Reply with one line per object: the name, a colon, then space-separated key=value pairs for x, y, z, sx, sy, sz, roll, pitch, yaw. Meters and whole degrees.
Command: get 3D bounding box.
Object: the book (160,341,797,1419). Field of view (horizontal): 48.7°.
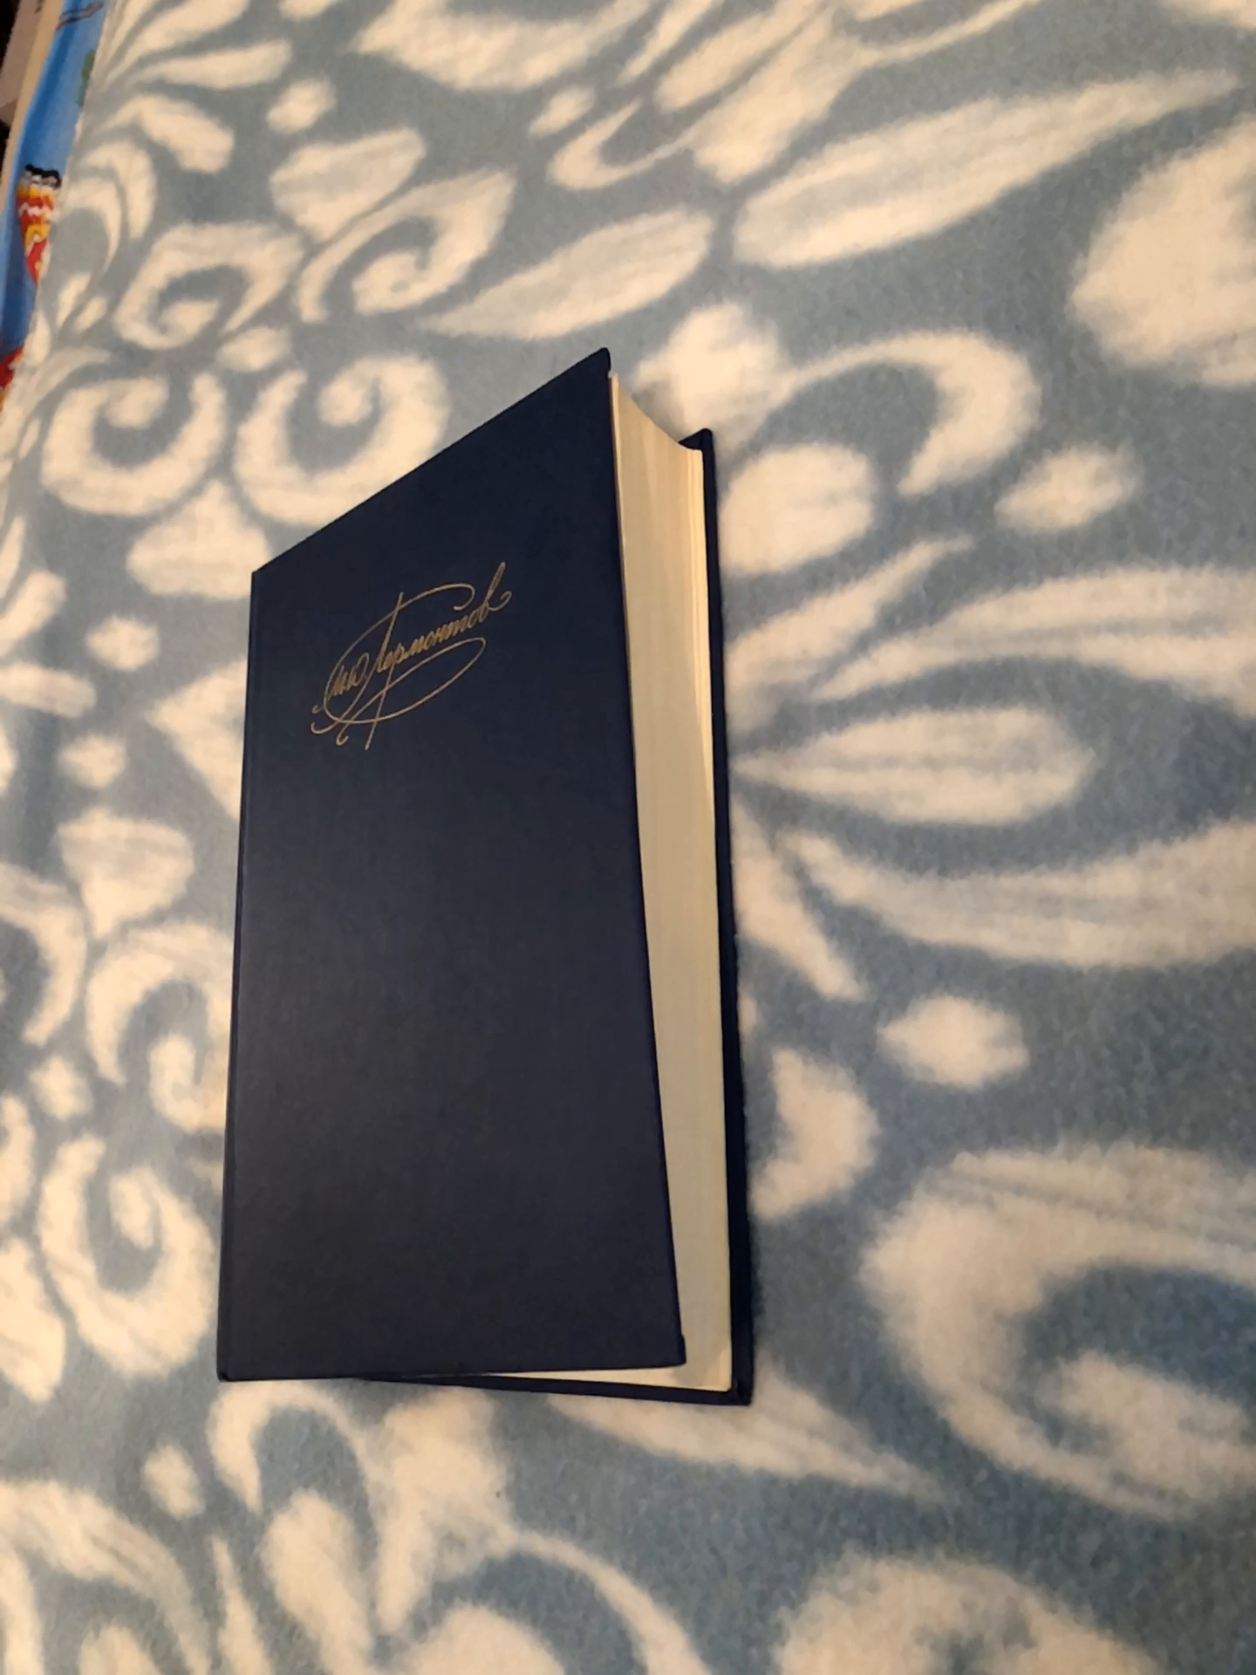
book: x=-0.039 y=0.016 z=0.303 sx=0.139 sy=0.040 sz=0.200 roll=-18 pitch=65 yaw=38
